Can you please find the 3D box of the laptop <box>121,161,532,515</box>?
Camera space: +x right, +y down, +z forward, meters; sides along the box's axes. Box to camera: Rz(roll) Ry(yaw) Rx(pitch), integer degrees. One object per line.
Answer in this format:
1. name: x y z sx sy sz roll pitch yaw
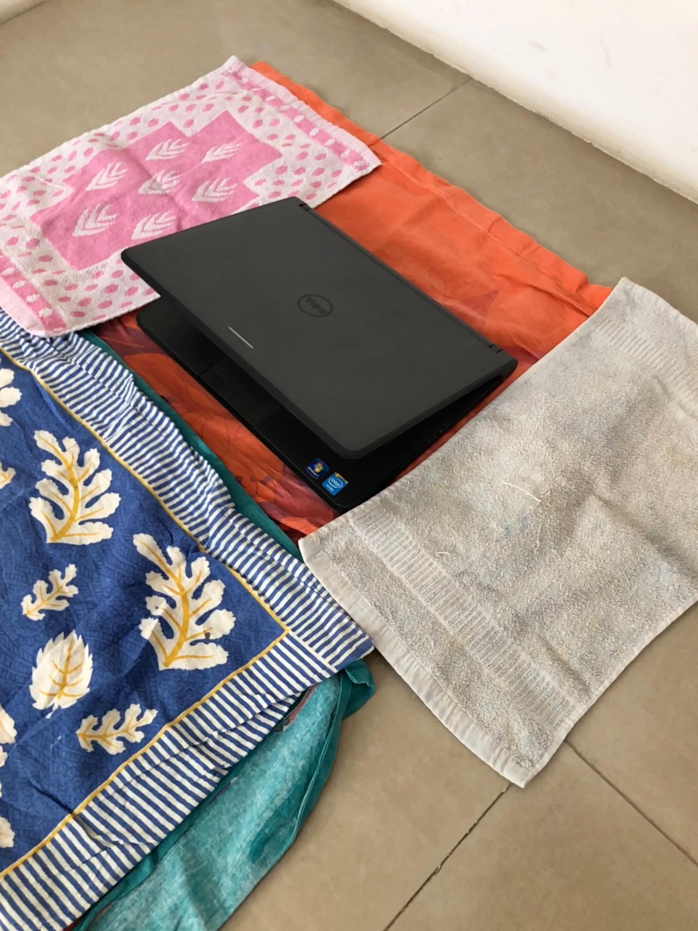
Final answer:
1. laptop: -0.025 -0.139 0.745 0.227 0.078 0.314 -39 65 -21
